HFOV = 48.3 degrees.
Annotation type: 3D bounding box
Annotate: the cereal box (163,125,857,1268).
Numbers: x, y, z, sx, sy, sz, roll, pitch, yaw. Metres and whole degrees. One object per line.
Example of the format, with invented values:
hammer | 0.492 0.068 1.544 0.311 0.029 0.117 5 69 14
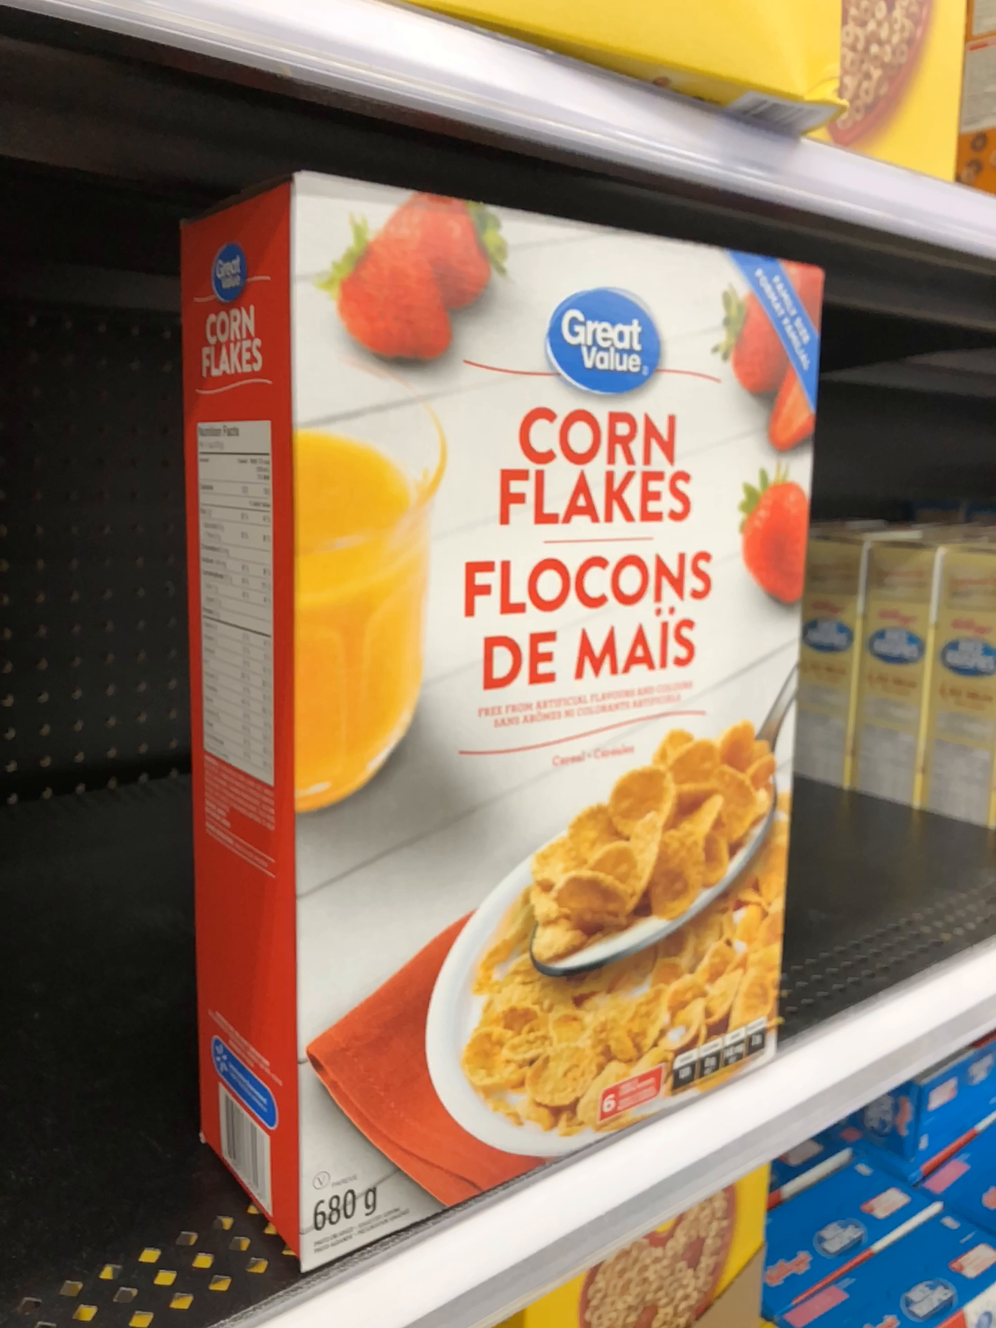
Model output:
cereal box | 0.011 0.005 0.420 0.240 0.329 0.090 -6 13 -37
